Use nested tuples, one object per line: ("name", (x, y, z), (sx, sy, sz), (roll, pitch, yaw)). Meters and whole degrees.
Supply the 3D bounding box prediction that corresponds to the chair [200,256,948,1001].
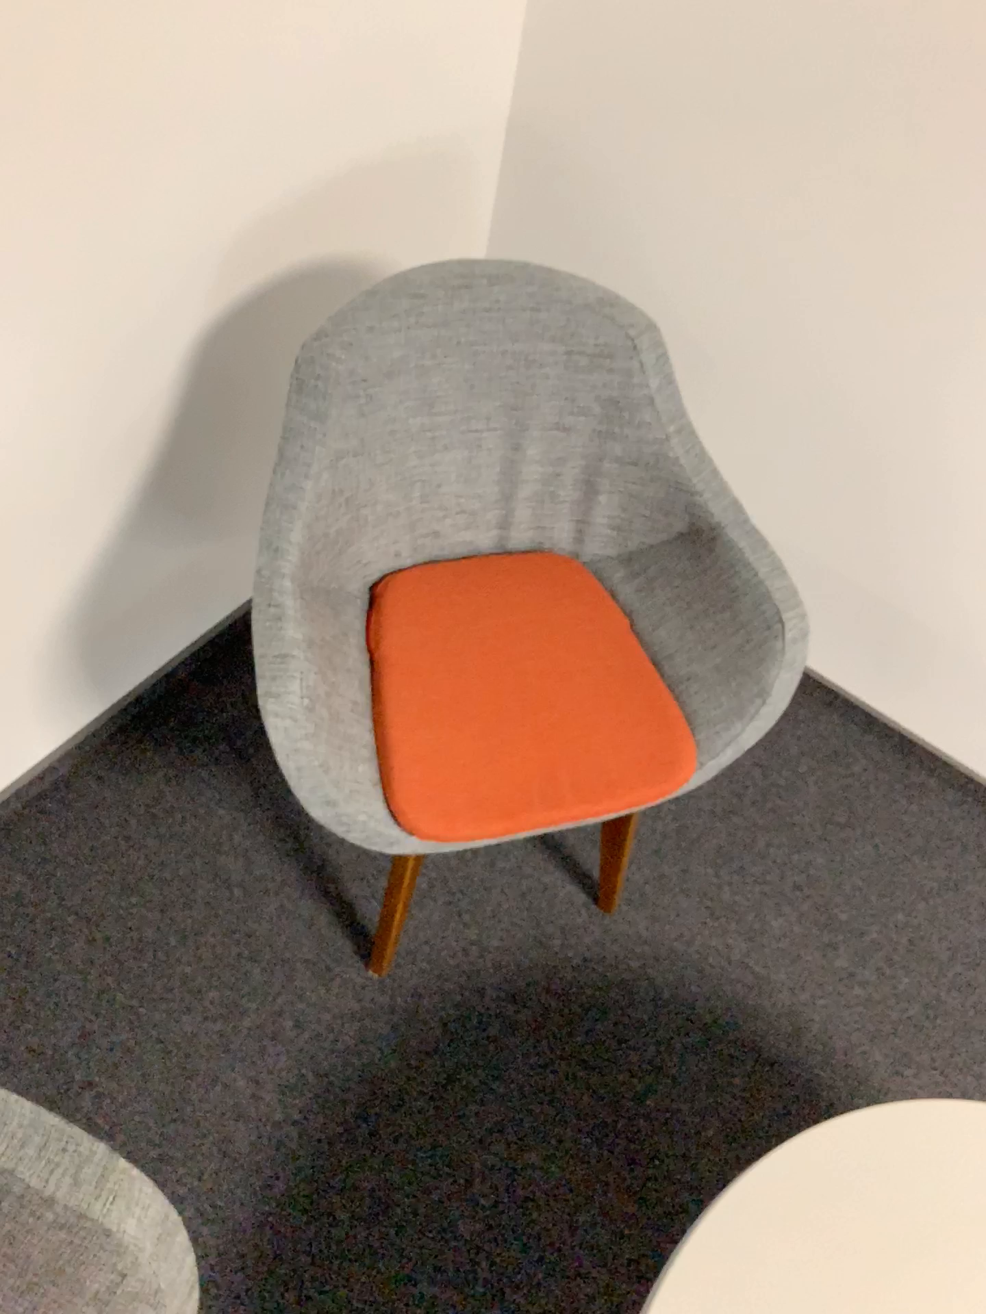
("chair", (-0.001, 0.000, 1.341), (0.631, 0.837, 0.502), (-9, 56, -17))
